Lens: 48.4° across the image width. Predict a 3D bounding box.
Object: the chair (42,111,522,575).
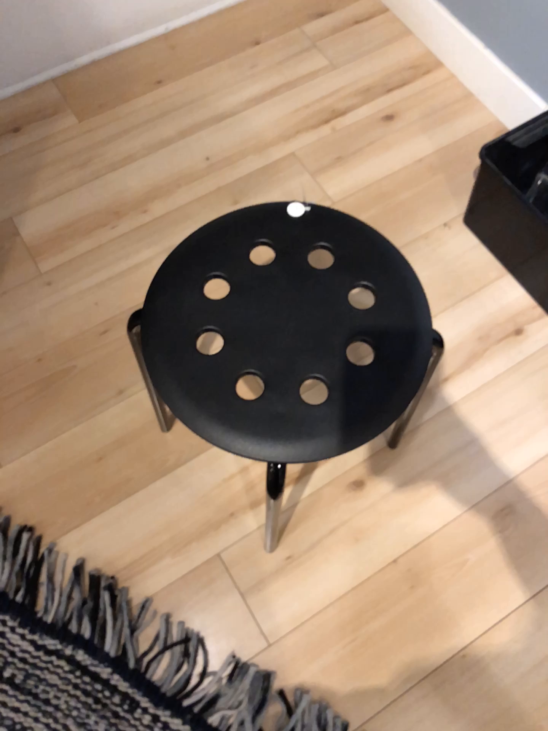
[{"bbox_3d":[0.004,-0.002,0.853,0.370,0.400,0.380,-37,72,-15],"label":"chair"}]
